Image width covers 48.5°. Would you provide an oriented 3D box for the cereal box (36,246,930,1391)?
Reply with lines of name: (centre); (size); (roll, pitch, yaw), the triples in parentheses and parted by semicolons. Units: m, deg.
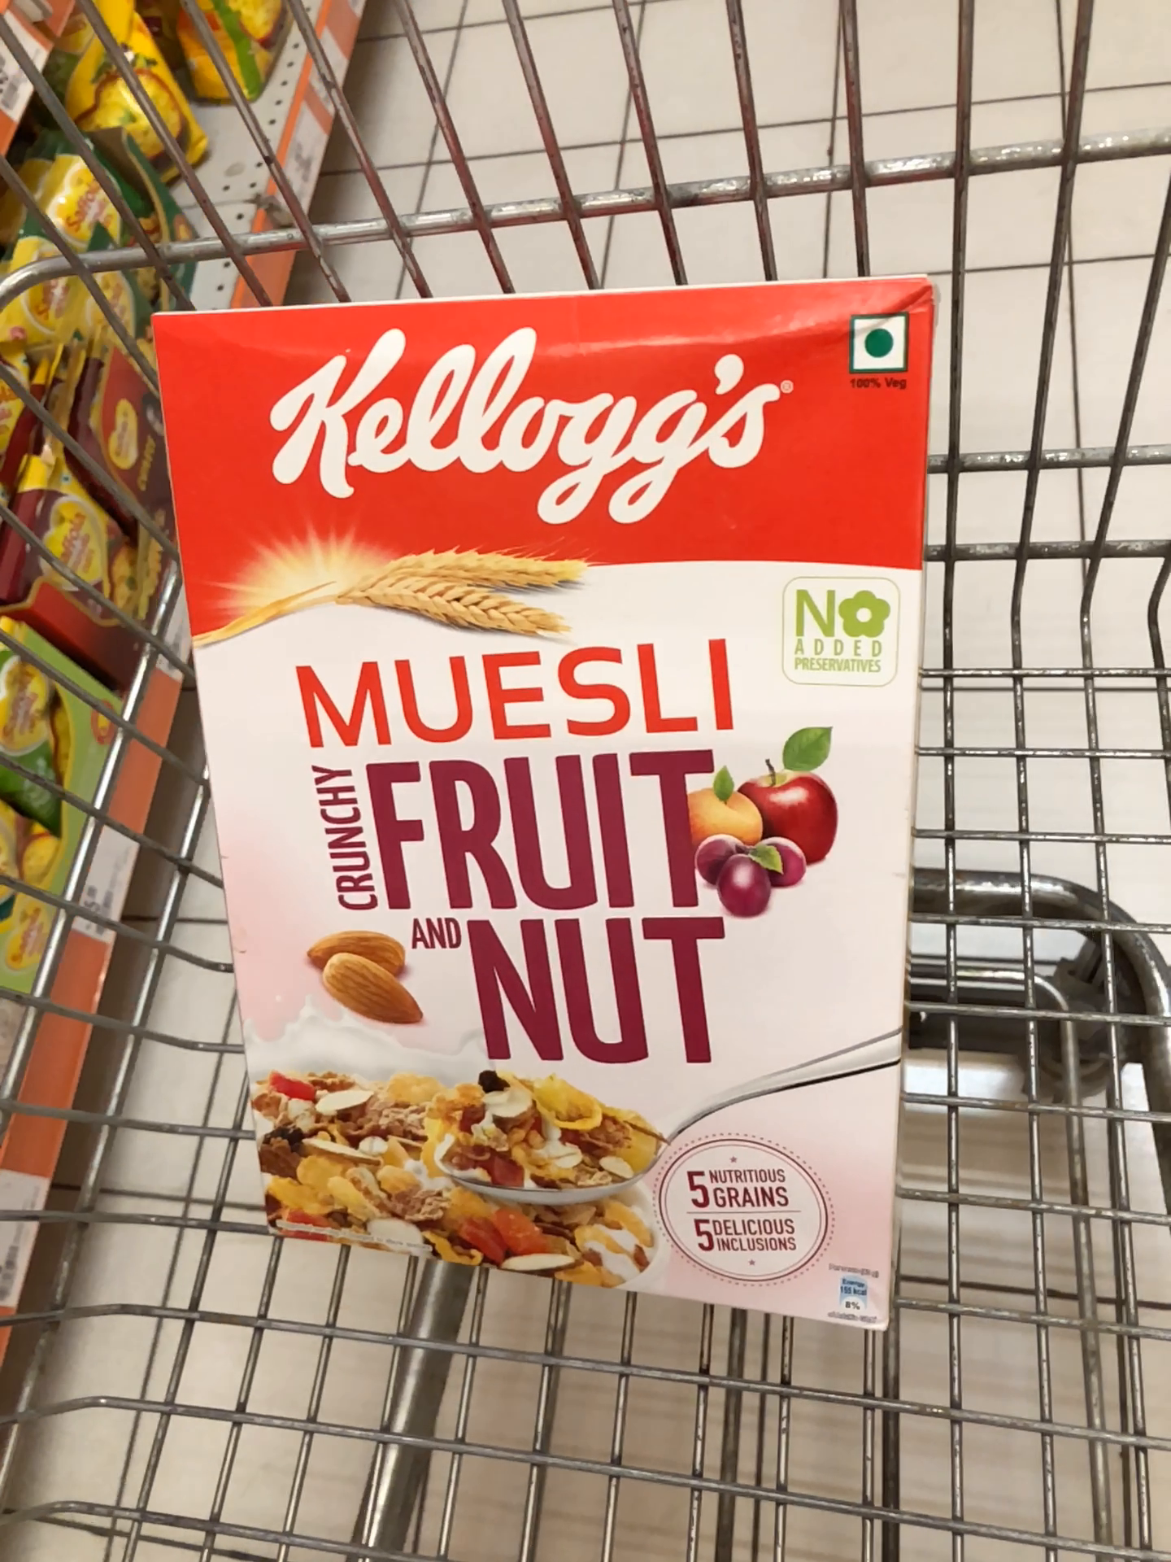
cereal box: (-0.016, 0.011, 0.340); (0.190, 0.070, 0.269); (4, 111, 15)
